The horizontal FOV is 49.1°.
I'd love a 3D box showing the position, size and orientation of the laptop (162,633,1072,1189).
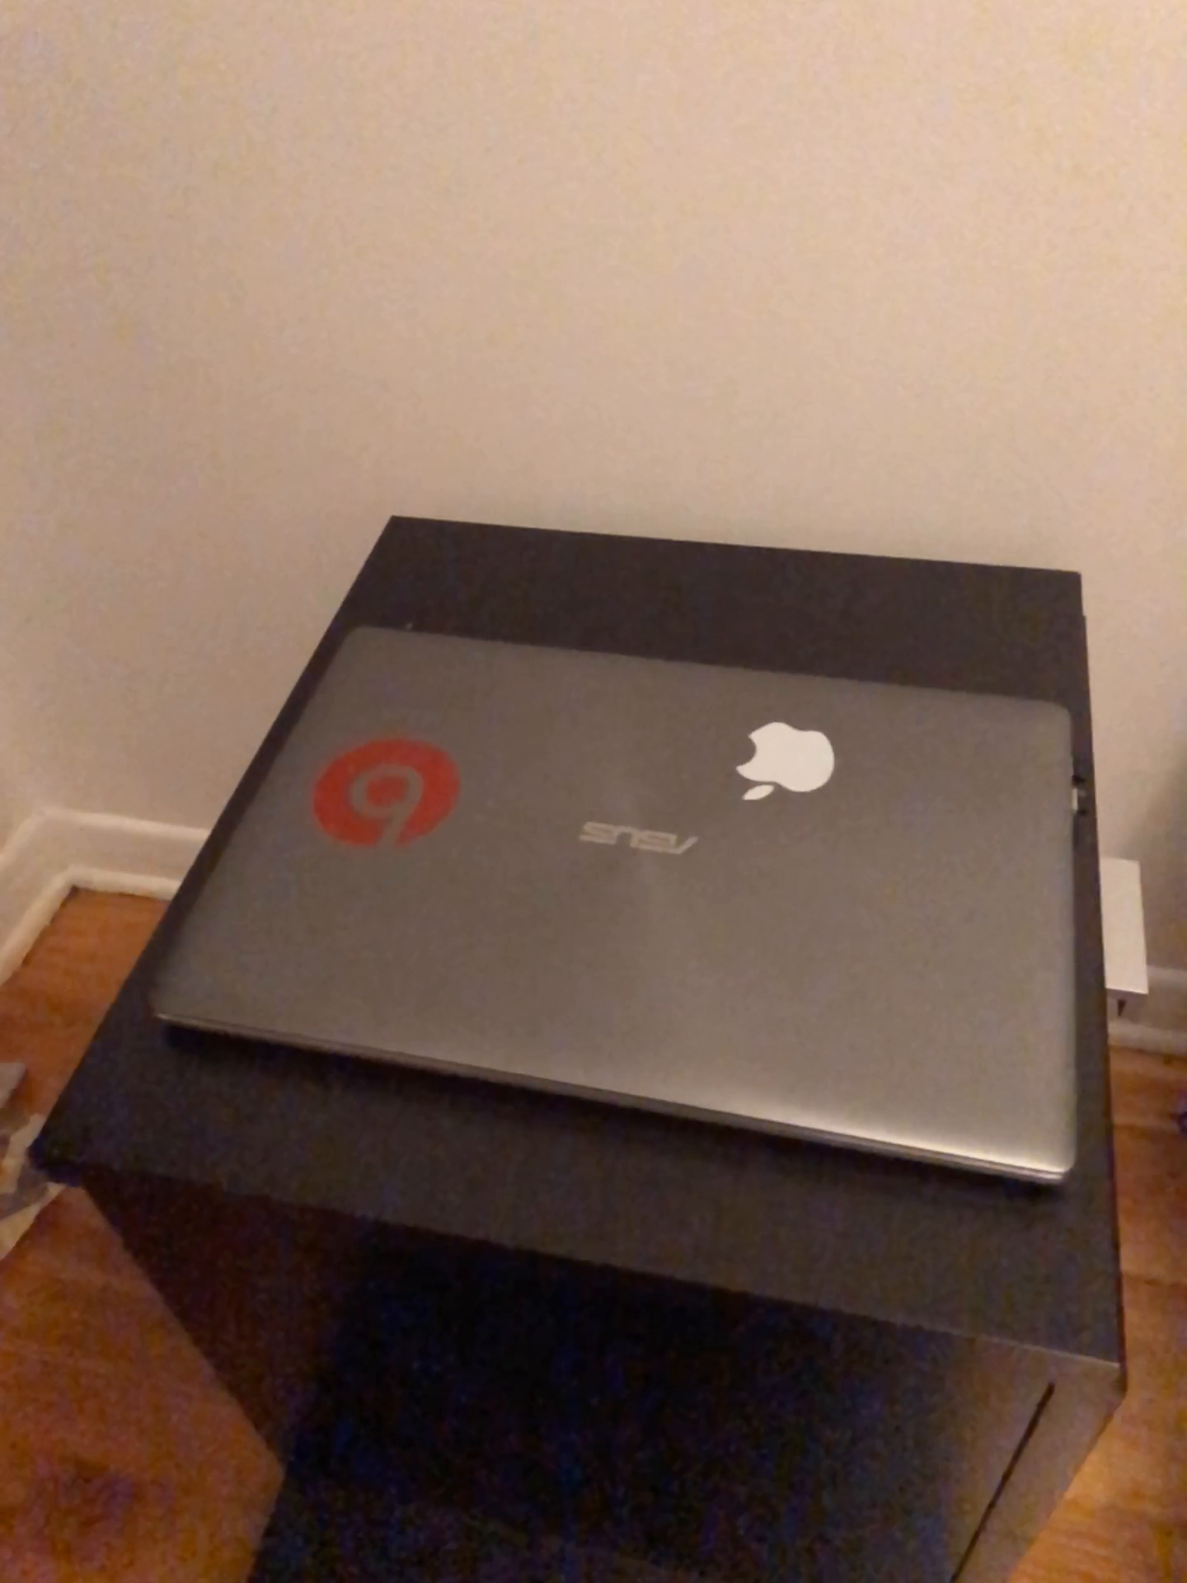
[{"bbox_3d":[0.023,0.030,0.603,0.373,0.010,0.250,7,48,13],"label":"laptop"}]
